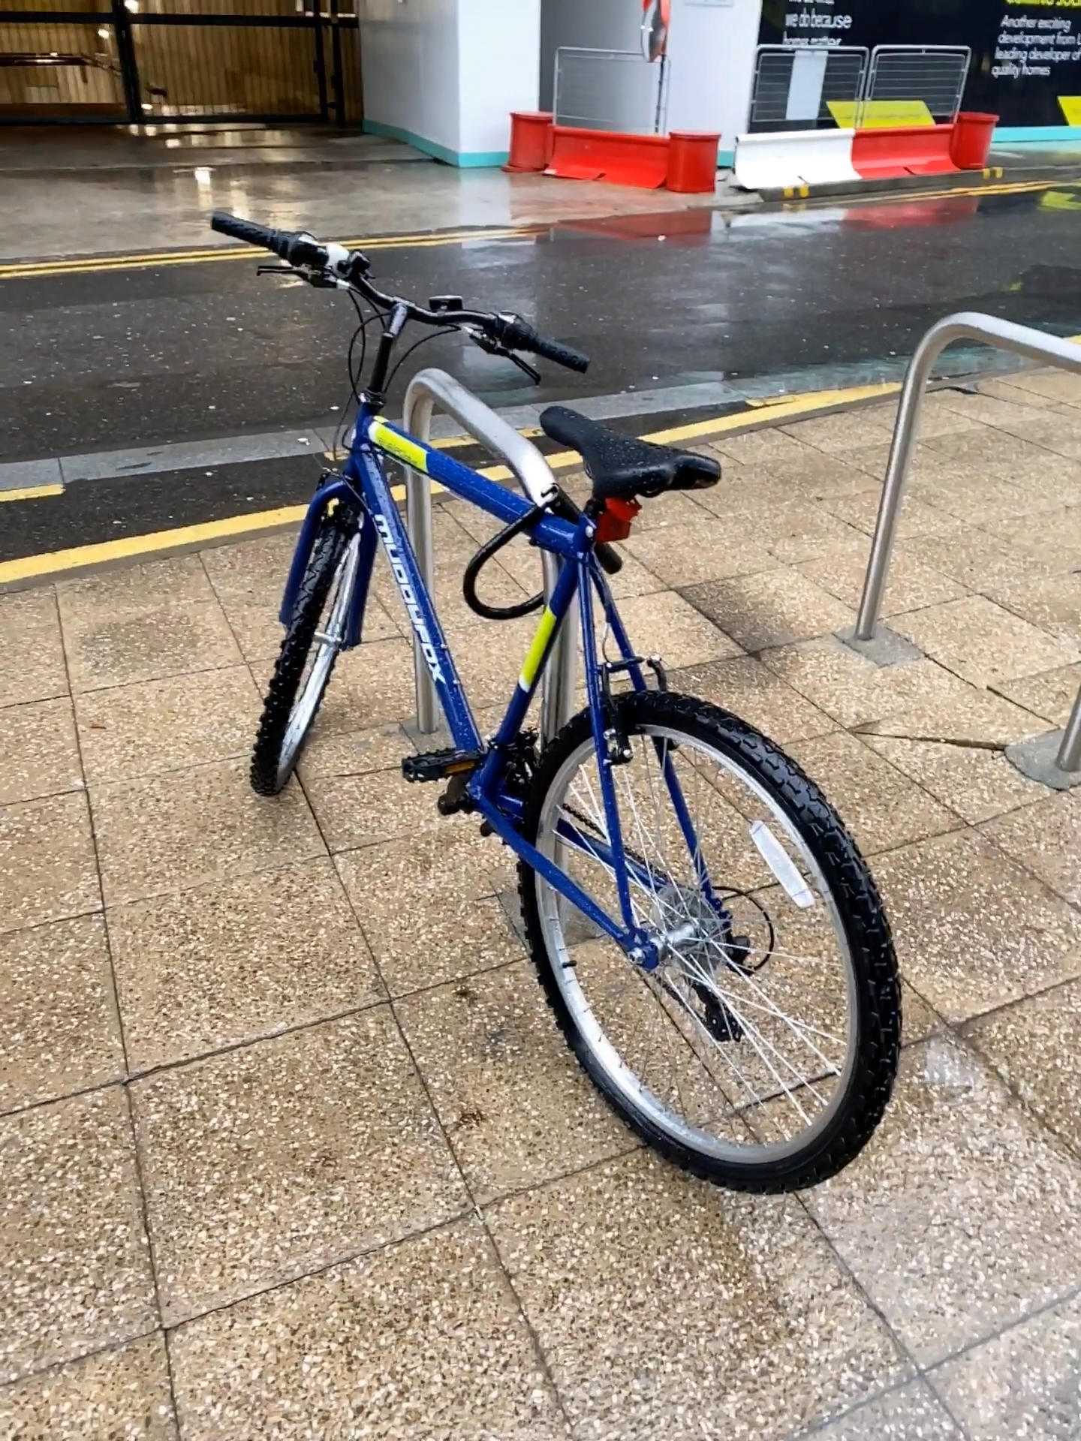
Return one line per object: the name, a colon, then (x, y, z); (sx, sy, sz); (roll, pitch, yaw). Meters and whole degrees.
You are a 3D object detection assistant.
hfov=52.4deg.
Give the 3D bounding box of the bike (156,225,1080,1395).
bike: (-0.019, -0.114, 1.675); (0.598, 1.012, 1.599); (-16, 34, -25)
